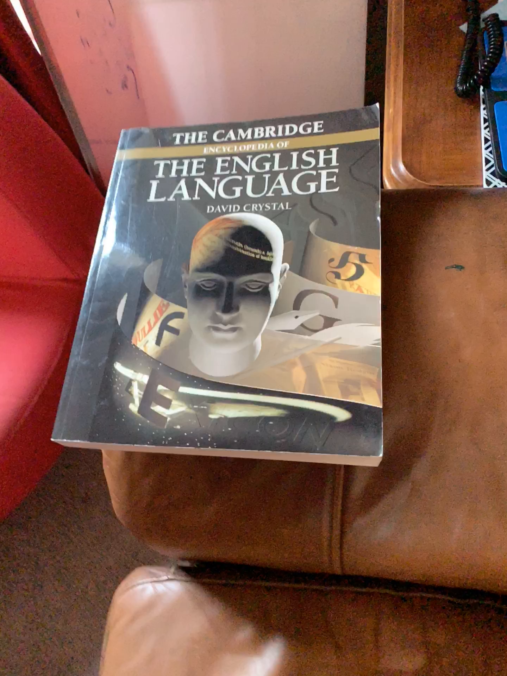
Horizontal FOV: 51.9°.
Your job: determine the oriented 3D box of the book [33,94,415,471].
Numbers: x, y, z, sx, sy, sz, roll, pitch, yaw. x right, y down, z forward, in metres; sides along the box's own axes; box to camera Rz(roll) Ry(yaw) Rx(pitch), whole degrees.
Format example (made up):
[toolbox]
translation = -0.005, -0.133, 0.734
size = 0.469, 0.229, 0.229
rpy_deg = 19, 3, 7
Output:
[book]
translation = -0.010, -0.053, 0.395
size = 0.240, 0.050, 0.281
rpy_deg = 1, 66, 11
